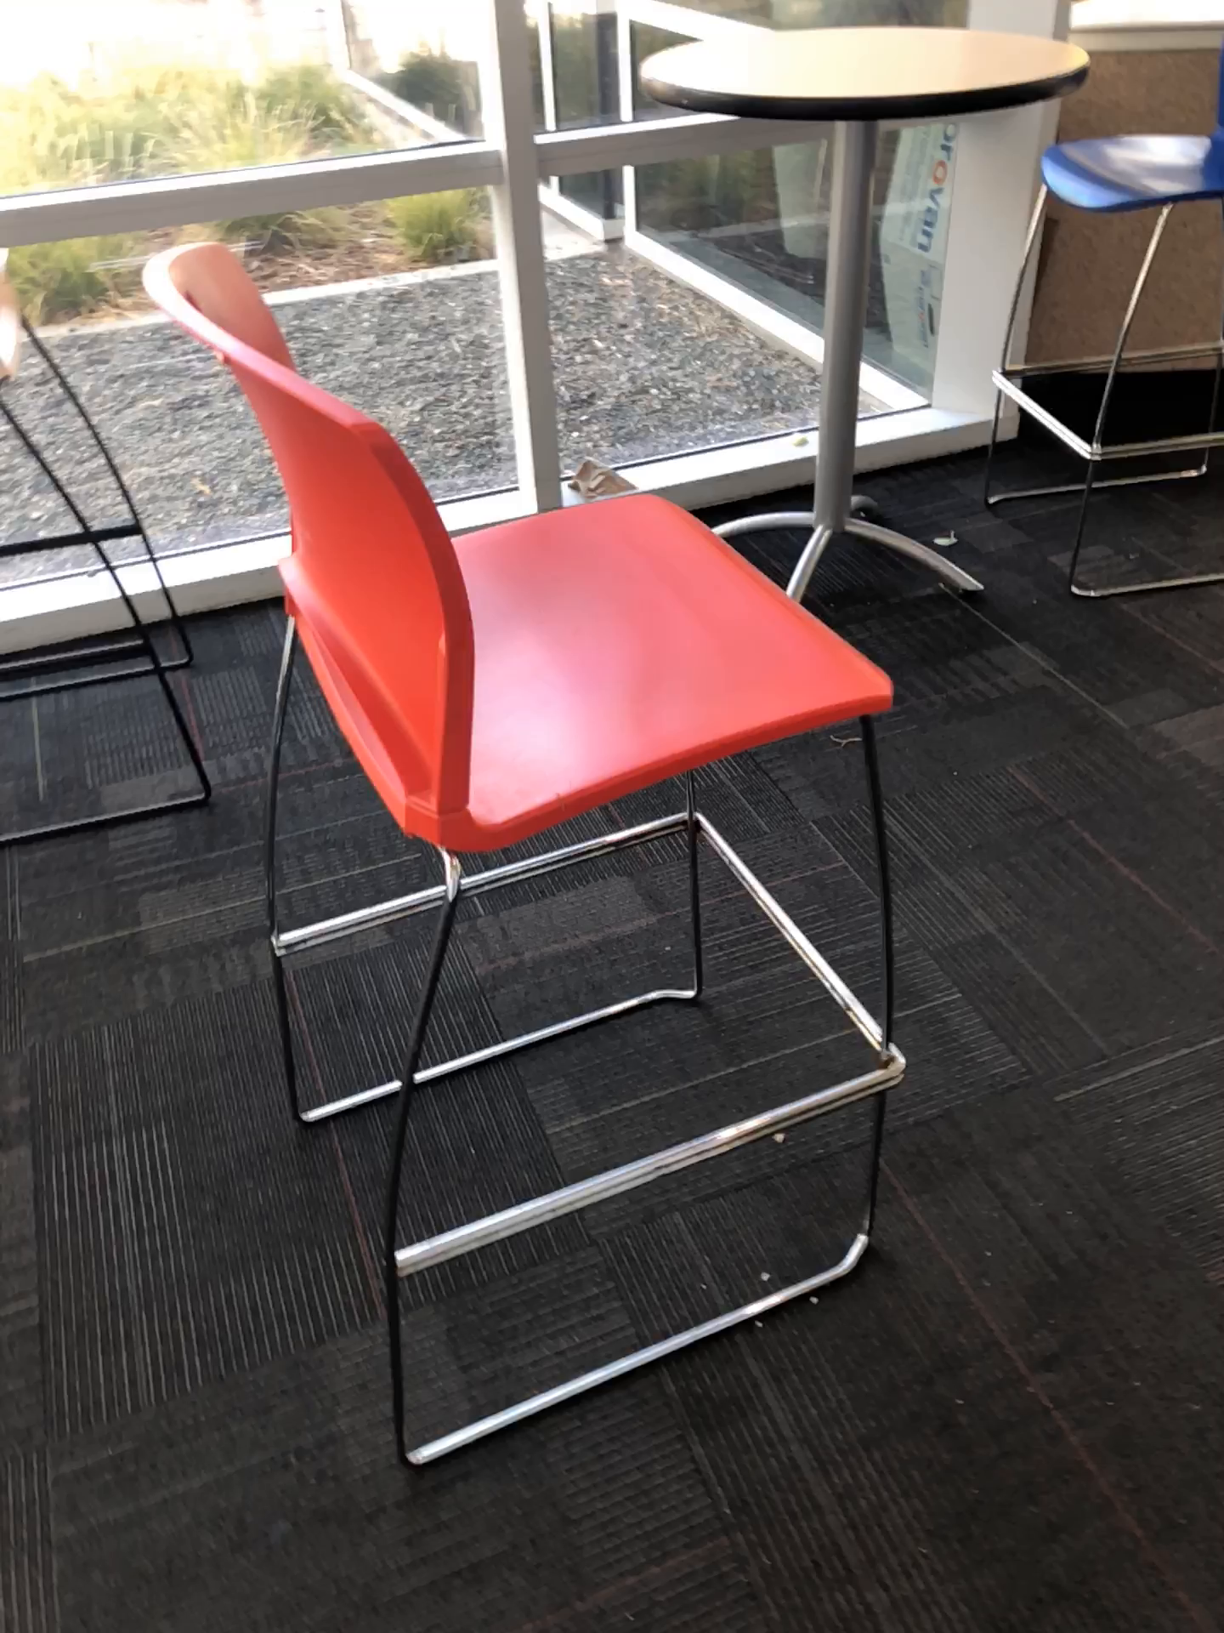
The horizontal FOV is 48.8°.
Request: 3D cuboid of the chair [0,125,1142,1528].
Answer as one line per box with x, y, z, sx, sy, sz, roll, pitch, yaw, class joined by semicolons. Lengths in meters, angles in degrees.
-0.066;-0.010;1.252;0.660;0.995;0.593;-18;38;-19;chair
